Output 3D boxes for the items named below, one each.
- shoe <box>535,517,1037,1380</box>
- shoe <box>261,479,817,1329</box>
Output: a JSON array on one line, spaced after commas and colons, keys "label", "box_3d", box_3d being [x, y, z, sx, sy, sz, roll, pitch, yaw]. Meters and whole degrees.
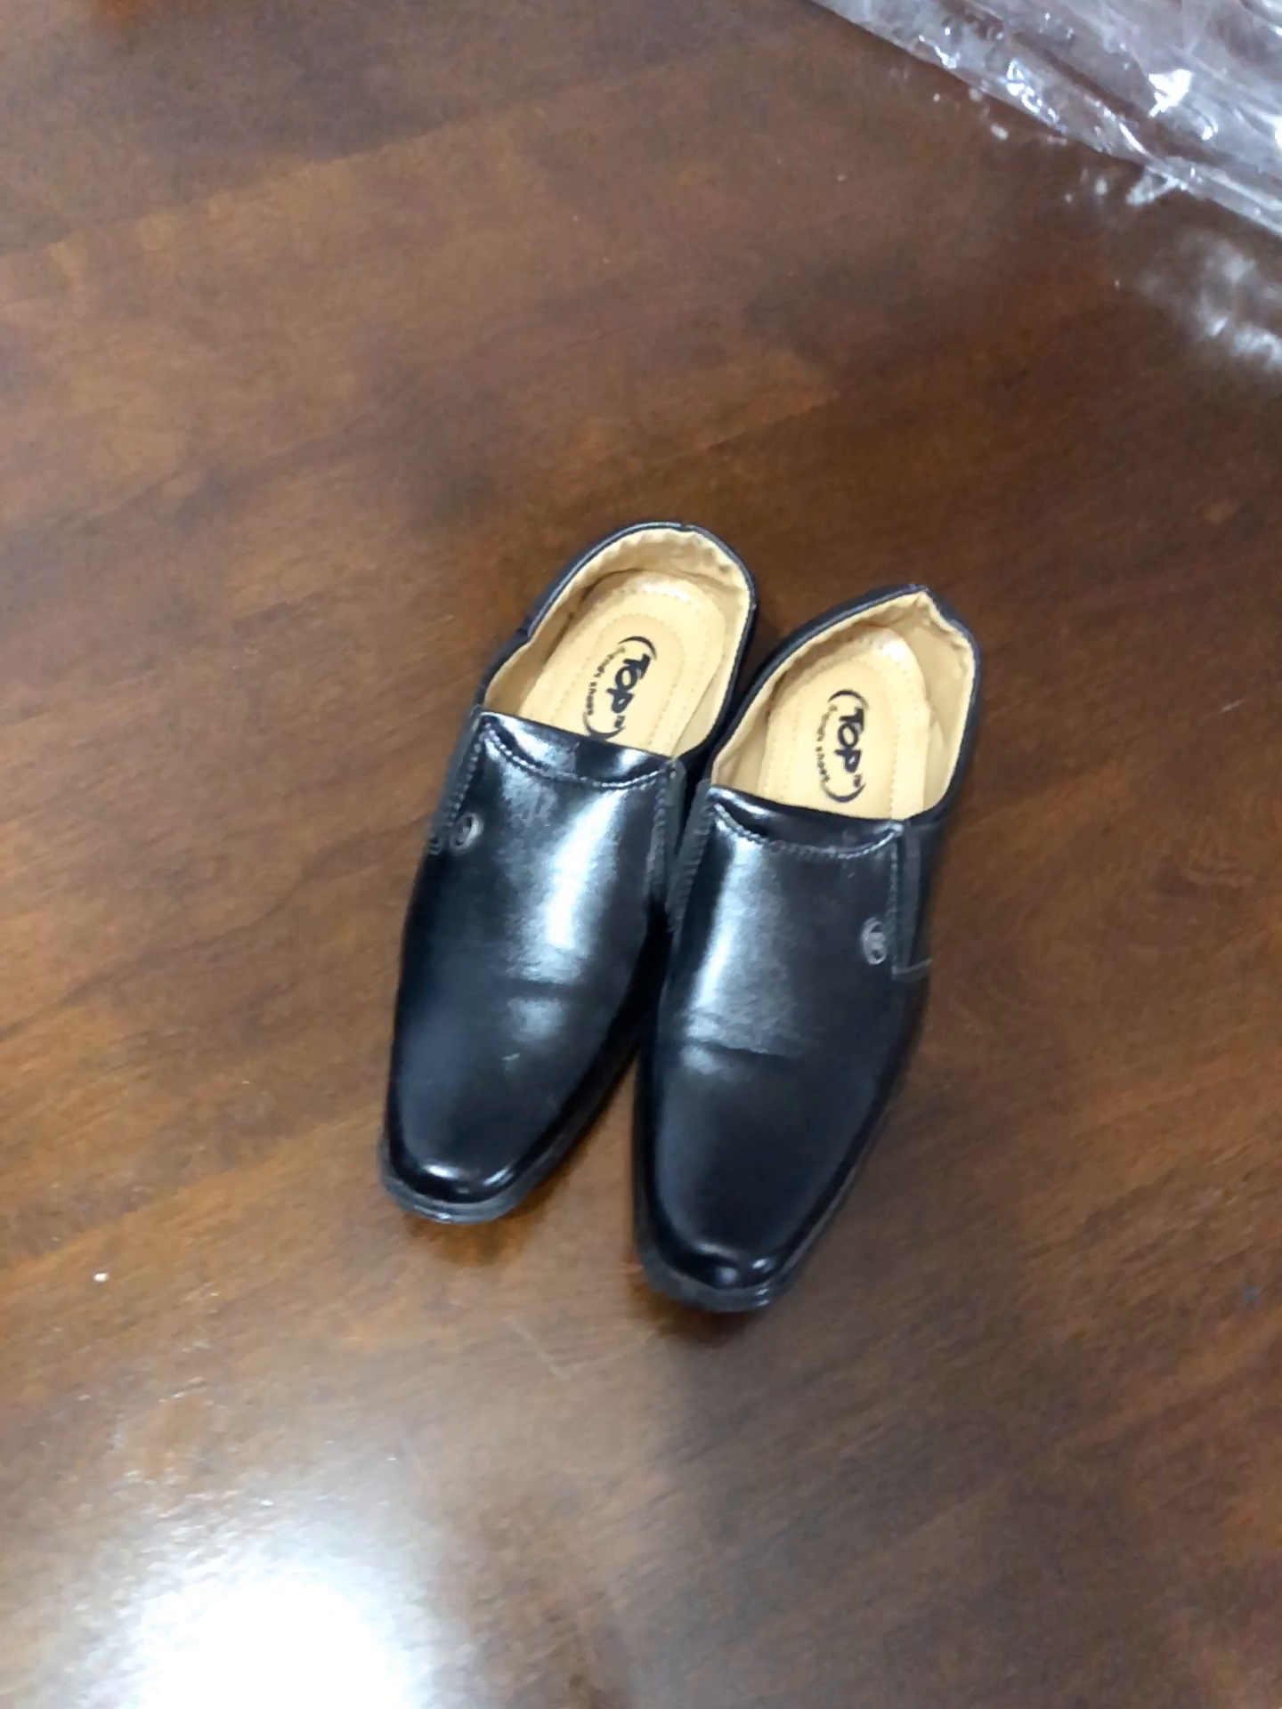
[{"label": "shoe", "box_3d": [0.046, 0.025, 0.433, 0.090, 0.090, 0.230, 16, 65, 3]}, {"label": "shoe", "box_3d": [-0.022, 0.010, 0.431, 0.090, 0.080, 0.230, 16, 65, 3]}]
